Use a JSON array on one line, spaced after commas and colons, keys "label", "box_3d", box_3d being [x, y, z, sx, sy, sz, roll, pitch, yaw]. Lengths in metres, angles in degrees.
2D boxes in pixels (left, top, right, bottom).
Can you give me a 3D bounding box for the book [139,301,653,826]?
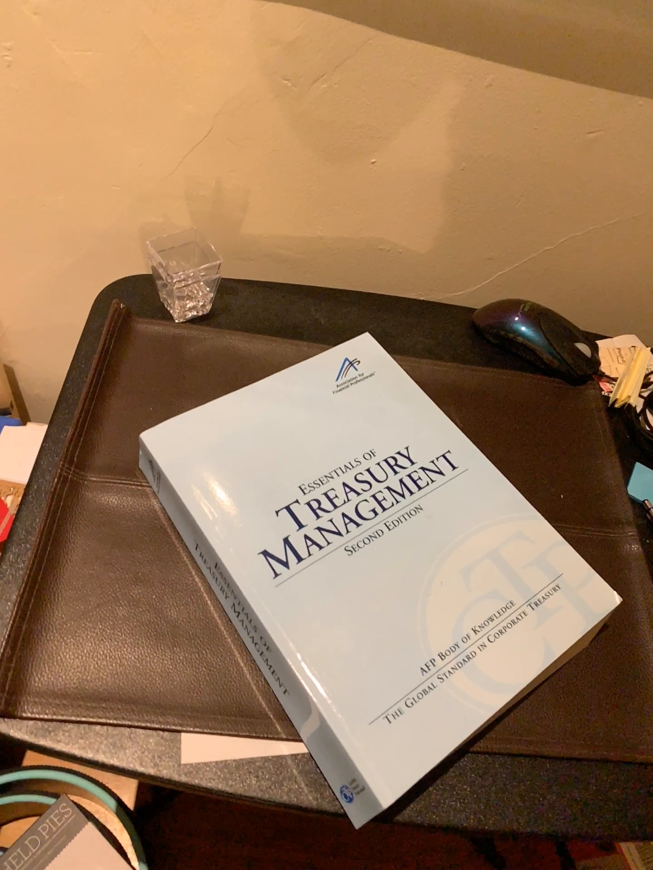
[{"label": "book", "box_3d": [0.040, 0.057, 0.471, 0.220, 0.060, 0.301, -26, 63, -26]}]
